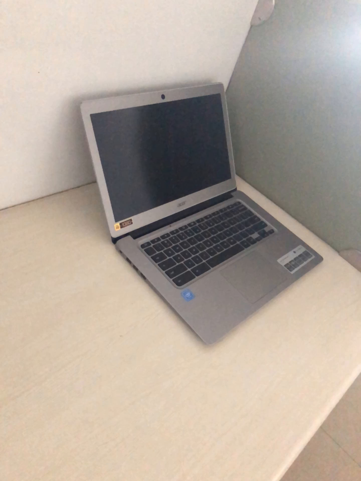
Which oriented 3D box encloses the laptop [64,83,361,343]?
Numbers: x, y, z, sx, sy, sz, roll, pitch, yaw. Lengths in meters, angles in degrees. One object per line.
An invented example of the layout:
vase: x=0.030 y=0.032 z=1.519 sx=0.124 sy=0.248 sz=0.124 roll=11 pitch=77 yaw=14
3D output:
laptop: x=0.053 y=-0.086 z=0.668 sx=0.323 sy=0.168 sz=0.366 roll=-25 pitch=59 yaw=-40
